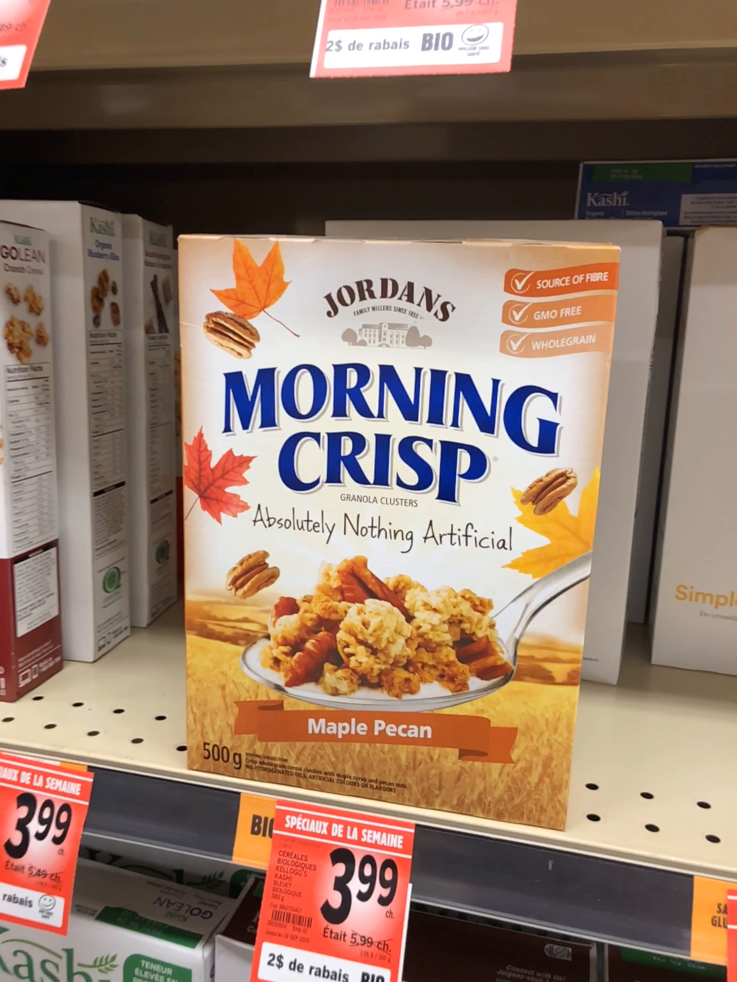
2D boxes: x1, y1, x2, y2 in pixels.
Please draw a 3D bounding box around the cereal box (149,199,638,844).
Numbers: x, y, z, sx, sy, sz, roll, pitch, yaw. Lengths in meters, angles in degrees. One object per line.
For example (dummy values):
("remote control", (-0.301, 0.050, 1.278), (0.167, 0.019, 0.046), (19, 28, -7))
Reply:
("cereal box", (0.003, 0.011, 0.364), (0.190, 0.259, 0.050), (5, 13, 11))
